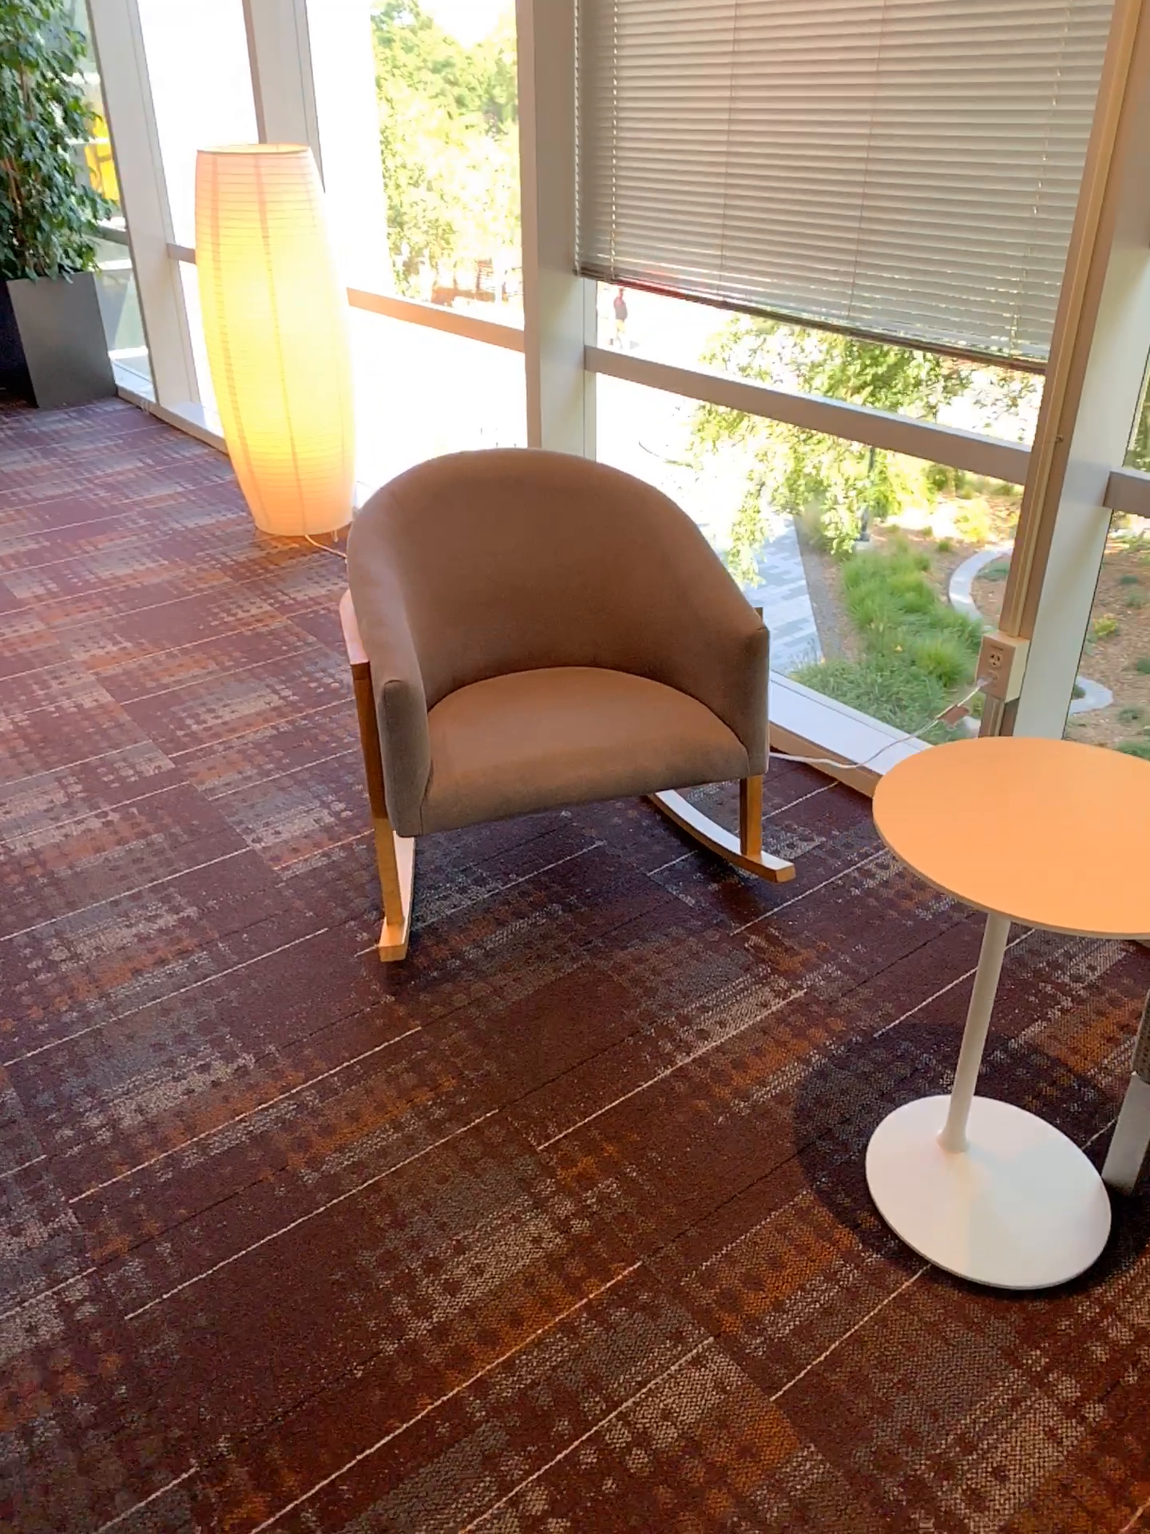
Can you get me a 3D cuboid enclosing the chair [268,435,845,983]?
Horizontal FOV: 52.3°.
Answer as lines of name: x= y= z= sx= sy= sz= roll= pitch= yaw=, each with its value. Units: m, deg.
chair: x=-0.099 y=-0.194 z=2.354 sx=0.850 sy=0.656 sz=0.916 roll=-9 pitch=31 yaw=-15
